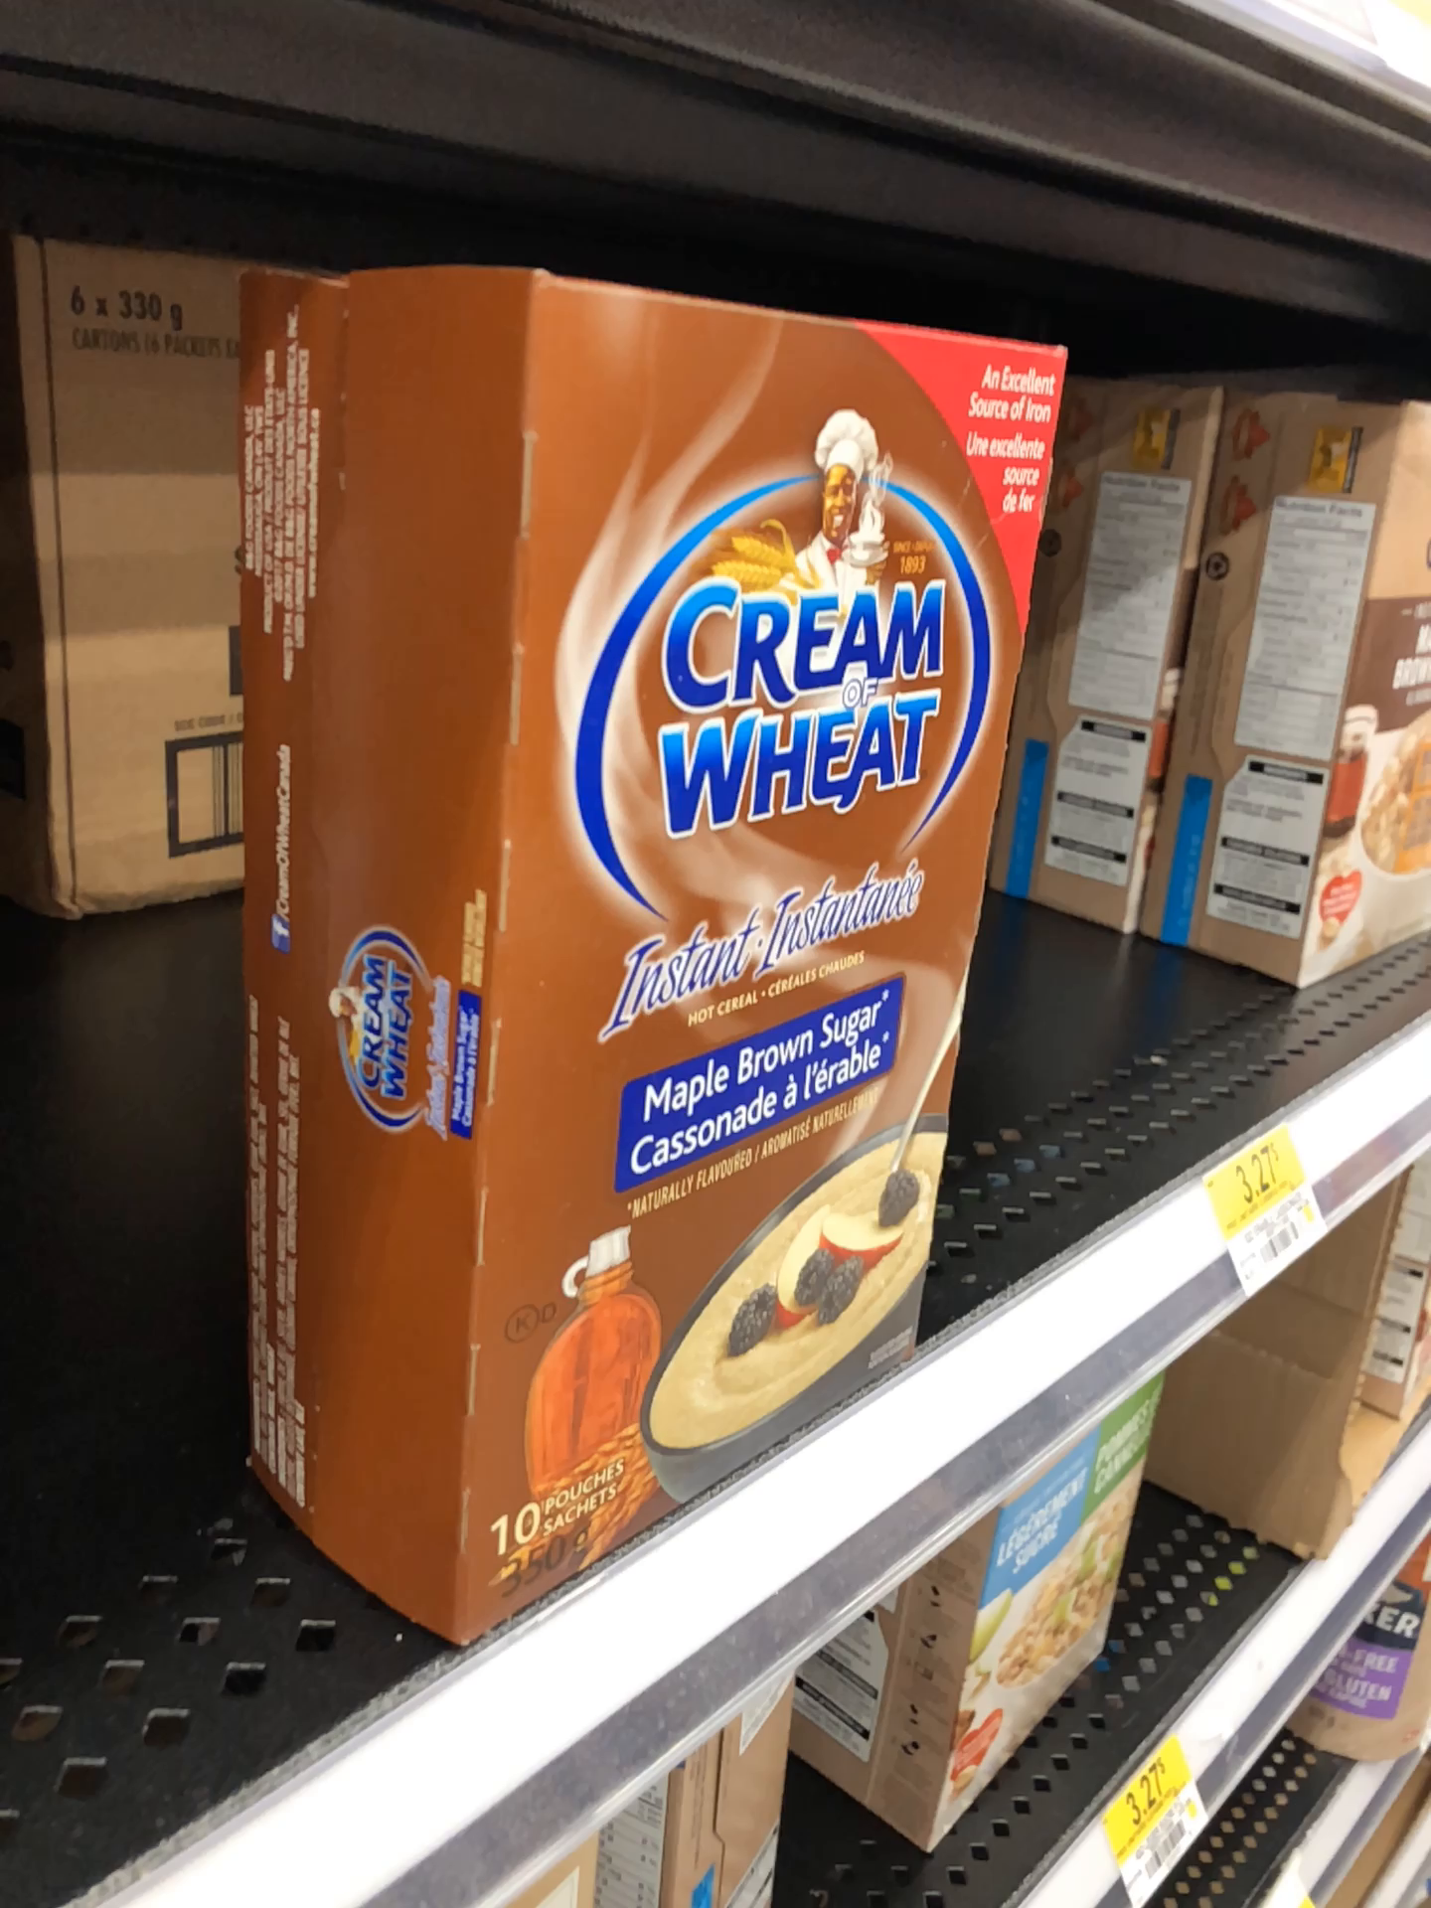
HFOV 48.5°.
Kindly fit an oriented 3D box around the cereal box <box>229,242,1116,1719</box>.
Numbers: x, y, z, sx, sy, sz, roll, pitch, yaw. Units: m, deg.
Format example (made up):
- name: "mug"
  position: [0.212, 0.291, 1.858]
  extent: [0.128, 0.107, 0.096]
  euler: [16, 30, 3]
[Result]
- name: "cereal box"
  position: [-0.009, -0.001, 0.275]
  extent: [0.060, 0.209, 0.130]
  euler: [22, 26, 38]
